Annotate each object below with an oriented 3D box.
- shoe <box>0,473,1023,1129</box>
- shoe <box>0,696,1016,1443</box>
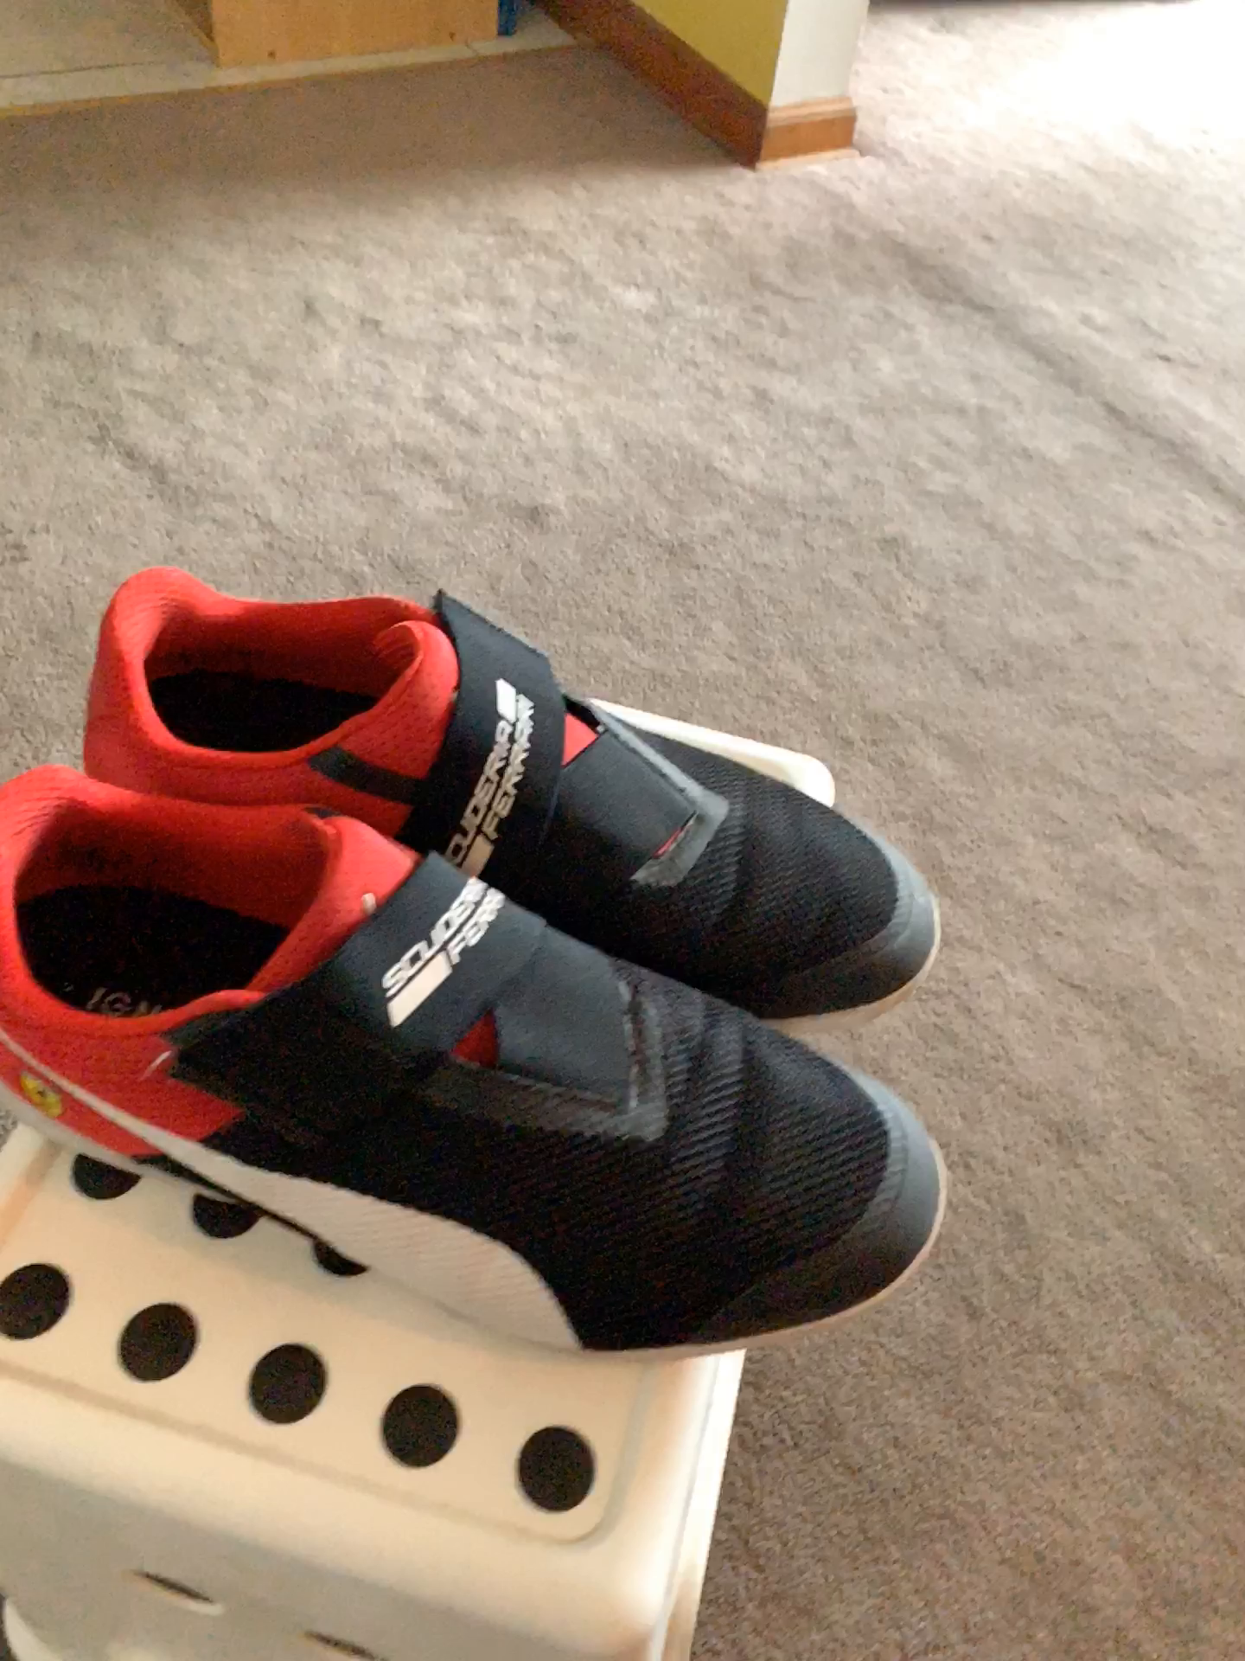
[{"bbox_3d":[-0.034,-0.012,0.428,0.300,0.099,0.111,15,50,4],"label":"shoe"},{"bbox_3d":[-0.054,0.067,0.368,0.300,0.099,0.101,15,50,4],"label":"shoe"}]
